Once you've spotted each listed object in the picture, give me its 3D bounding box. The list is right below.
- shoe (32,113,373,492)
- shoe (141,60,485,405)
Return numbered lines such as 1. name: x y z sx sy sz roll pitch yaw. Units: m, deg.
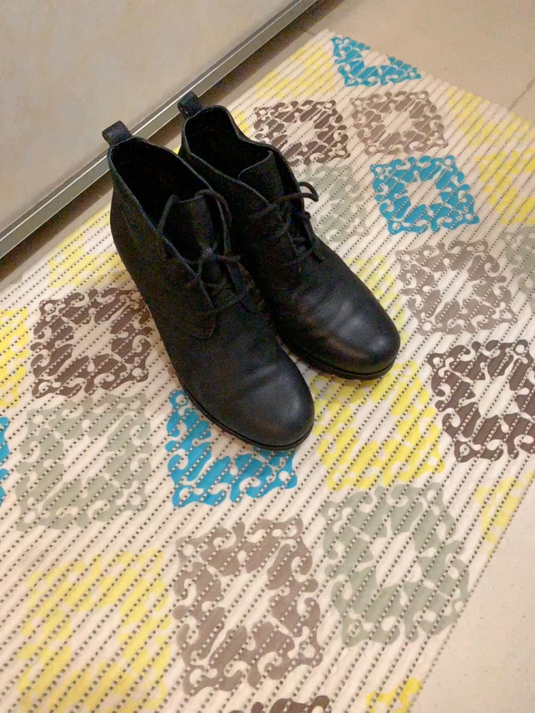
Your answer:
1. shoe: -0.050 -0.037 0.405 0.090 0.150 0.230 -36 68 -19
2. shoe: 0.023 -0.095 0.436 0.230 0.150 0.090 40 68 18
